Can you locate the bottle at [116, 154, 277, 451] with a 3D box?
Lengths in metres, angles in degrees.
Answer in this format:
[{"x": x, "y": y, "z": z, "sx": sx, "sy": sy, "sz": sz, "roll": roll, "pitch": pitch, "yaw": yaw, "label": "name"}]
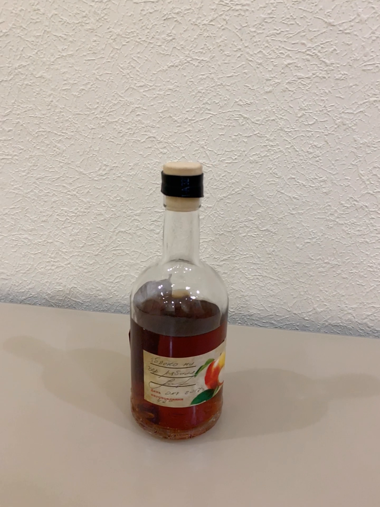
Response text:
[{"x": -0.004, "y": 0.032, "z": 0.301, "sx": 0.090, "sy": 0.201, "sz": 0.080, "roll": -4, "pitch": 20, "yaw": -16, "label": "bottle"}]
